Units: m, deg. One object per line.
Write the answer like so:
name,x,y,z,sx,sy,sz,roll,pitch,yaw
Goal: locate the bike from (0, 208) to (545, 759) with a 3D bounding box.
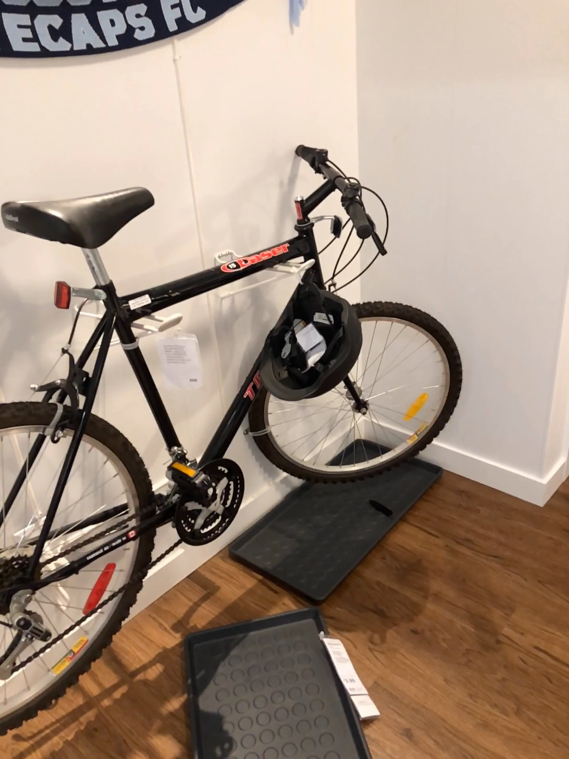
bike,-0.125,0.132,1.358,1.568,0.846,0.559,-20,29,-38
